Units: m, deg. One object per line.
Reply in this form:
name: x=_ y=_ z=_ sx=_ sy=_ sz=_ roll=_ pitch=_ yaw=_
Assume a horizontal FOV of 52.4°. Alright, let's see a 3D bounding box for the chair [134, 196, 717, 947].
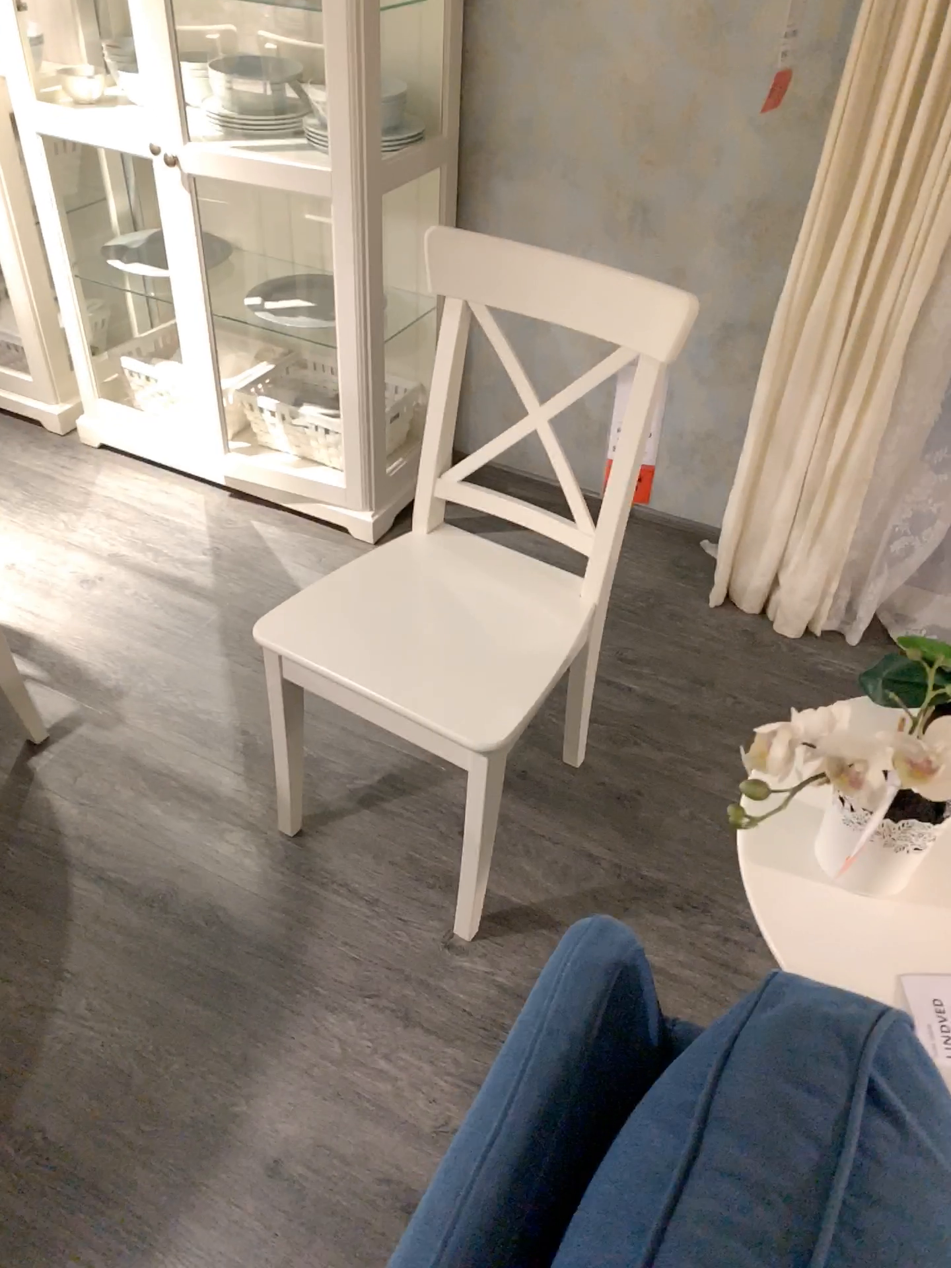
chair: x=-0.047 y=-0.090 z=1.378 sx=0.451 sy=0.807 sz=0.542 roll=23 pitch=44 yaw=21
